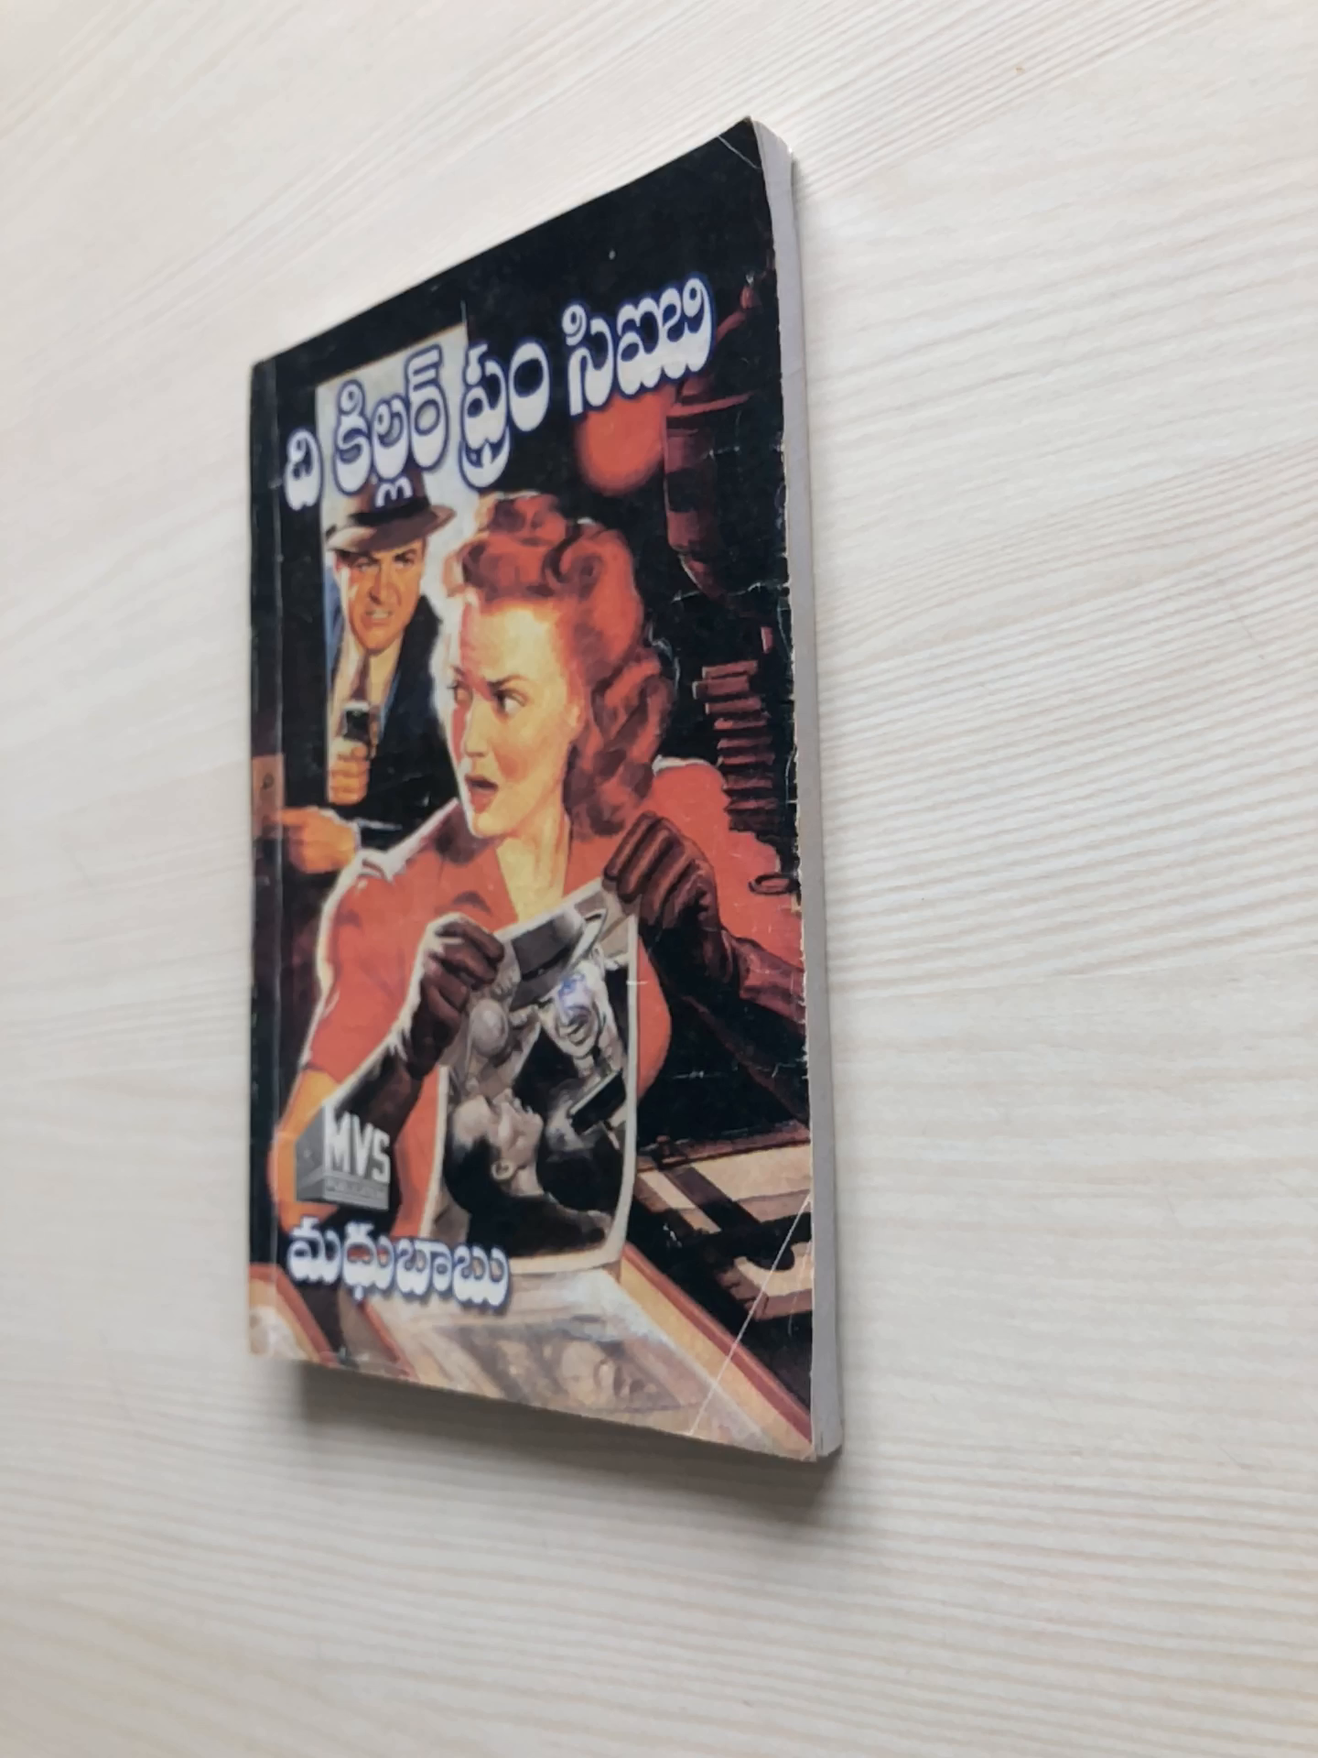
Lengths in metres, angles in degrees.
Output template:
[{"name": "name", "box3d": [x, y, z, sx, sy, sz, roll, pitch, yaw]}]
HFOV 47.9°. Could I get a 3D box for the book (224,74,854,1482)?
[{"name": "book", "box3d": [-0.023, -0.011, 0.202, 0.100, 0.012, 0.160, -6, 82, 38]}]
